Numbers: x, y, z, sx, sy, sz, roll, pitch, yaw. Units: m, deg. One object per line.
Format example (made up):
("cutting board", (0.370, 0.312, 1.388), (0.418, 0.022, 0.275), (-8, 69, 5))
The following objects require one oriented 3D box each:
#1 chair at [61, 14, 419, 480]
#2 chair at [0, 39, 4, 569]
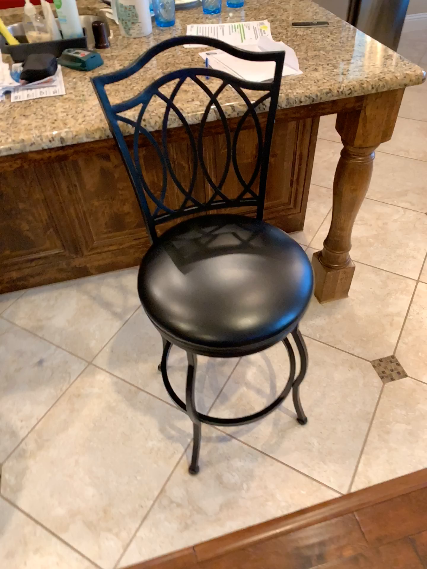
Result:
("chair", (0.018, -0.005, 1.142), (0.467, 1.069, 0.506), (-16, 48, -12))
("chair", (-0.980, 0.203, 0.930), (0.554, 1.099, 0.590), (-11, 47, -7))
